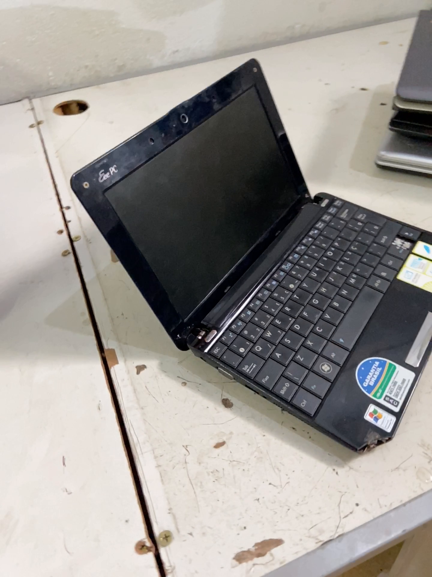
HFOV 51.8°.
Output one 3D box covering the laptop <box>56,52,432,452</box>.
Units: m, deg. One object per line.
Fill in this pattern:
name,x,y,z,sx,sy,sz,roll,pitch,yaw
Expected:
laptop,0.072,-0.064,0.388,0.265,0.131,0.259,28,55,23
